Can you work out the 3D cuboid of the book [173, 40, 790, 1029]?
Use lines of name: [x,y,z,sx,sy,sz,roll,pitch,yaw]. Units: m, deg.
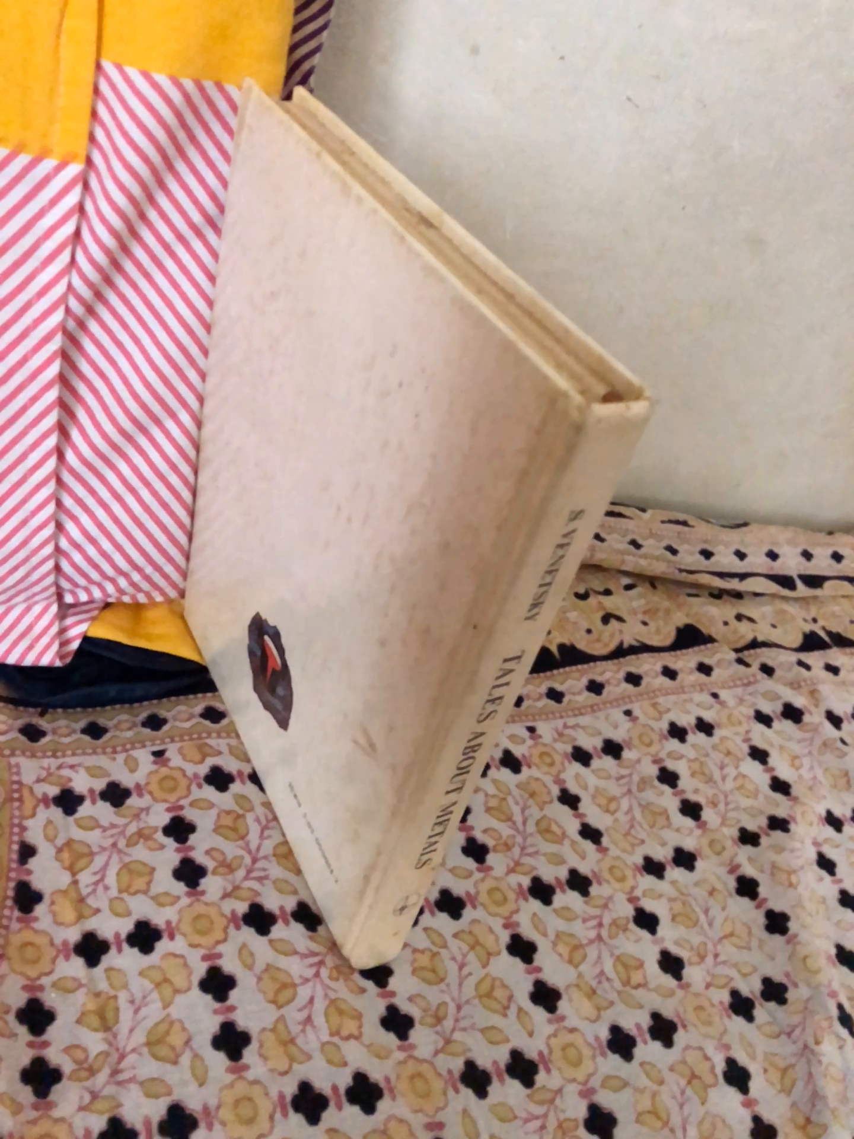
book: [-0.021,-0.009,0.312,0.050,0.249,0.191,-9,42,-31]
